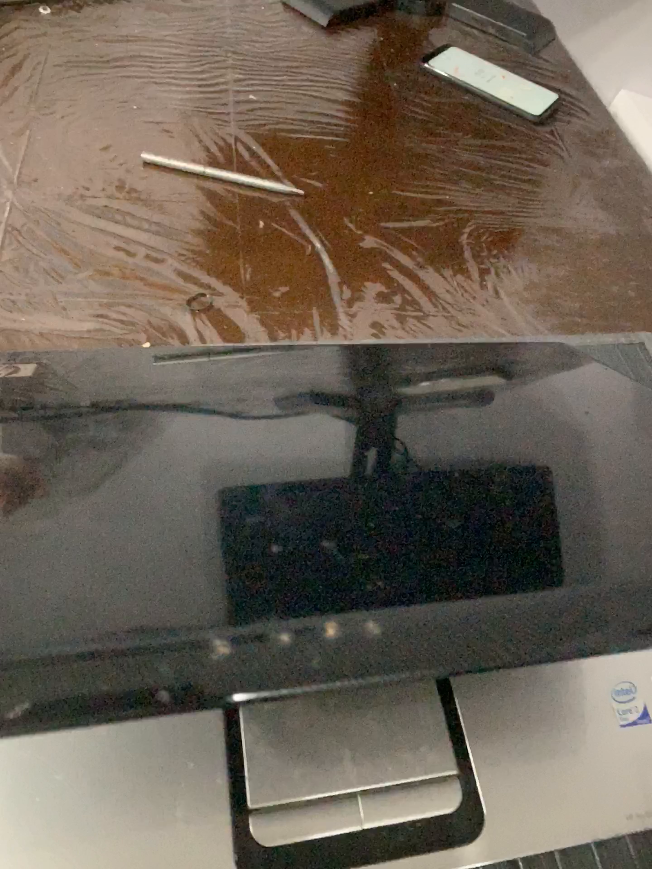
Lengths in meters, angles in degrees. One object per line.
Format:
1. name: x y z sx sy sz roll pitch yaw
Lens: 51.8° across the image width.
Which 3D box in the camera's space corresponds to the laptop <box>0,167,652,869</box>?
1. laptop: 0.015 0.029 0.262 0.342 0.109 0.244 -4 57 -16
